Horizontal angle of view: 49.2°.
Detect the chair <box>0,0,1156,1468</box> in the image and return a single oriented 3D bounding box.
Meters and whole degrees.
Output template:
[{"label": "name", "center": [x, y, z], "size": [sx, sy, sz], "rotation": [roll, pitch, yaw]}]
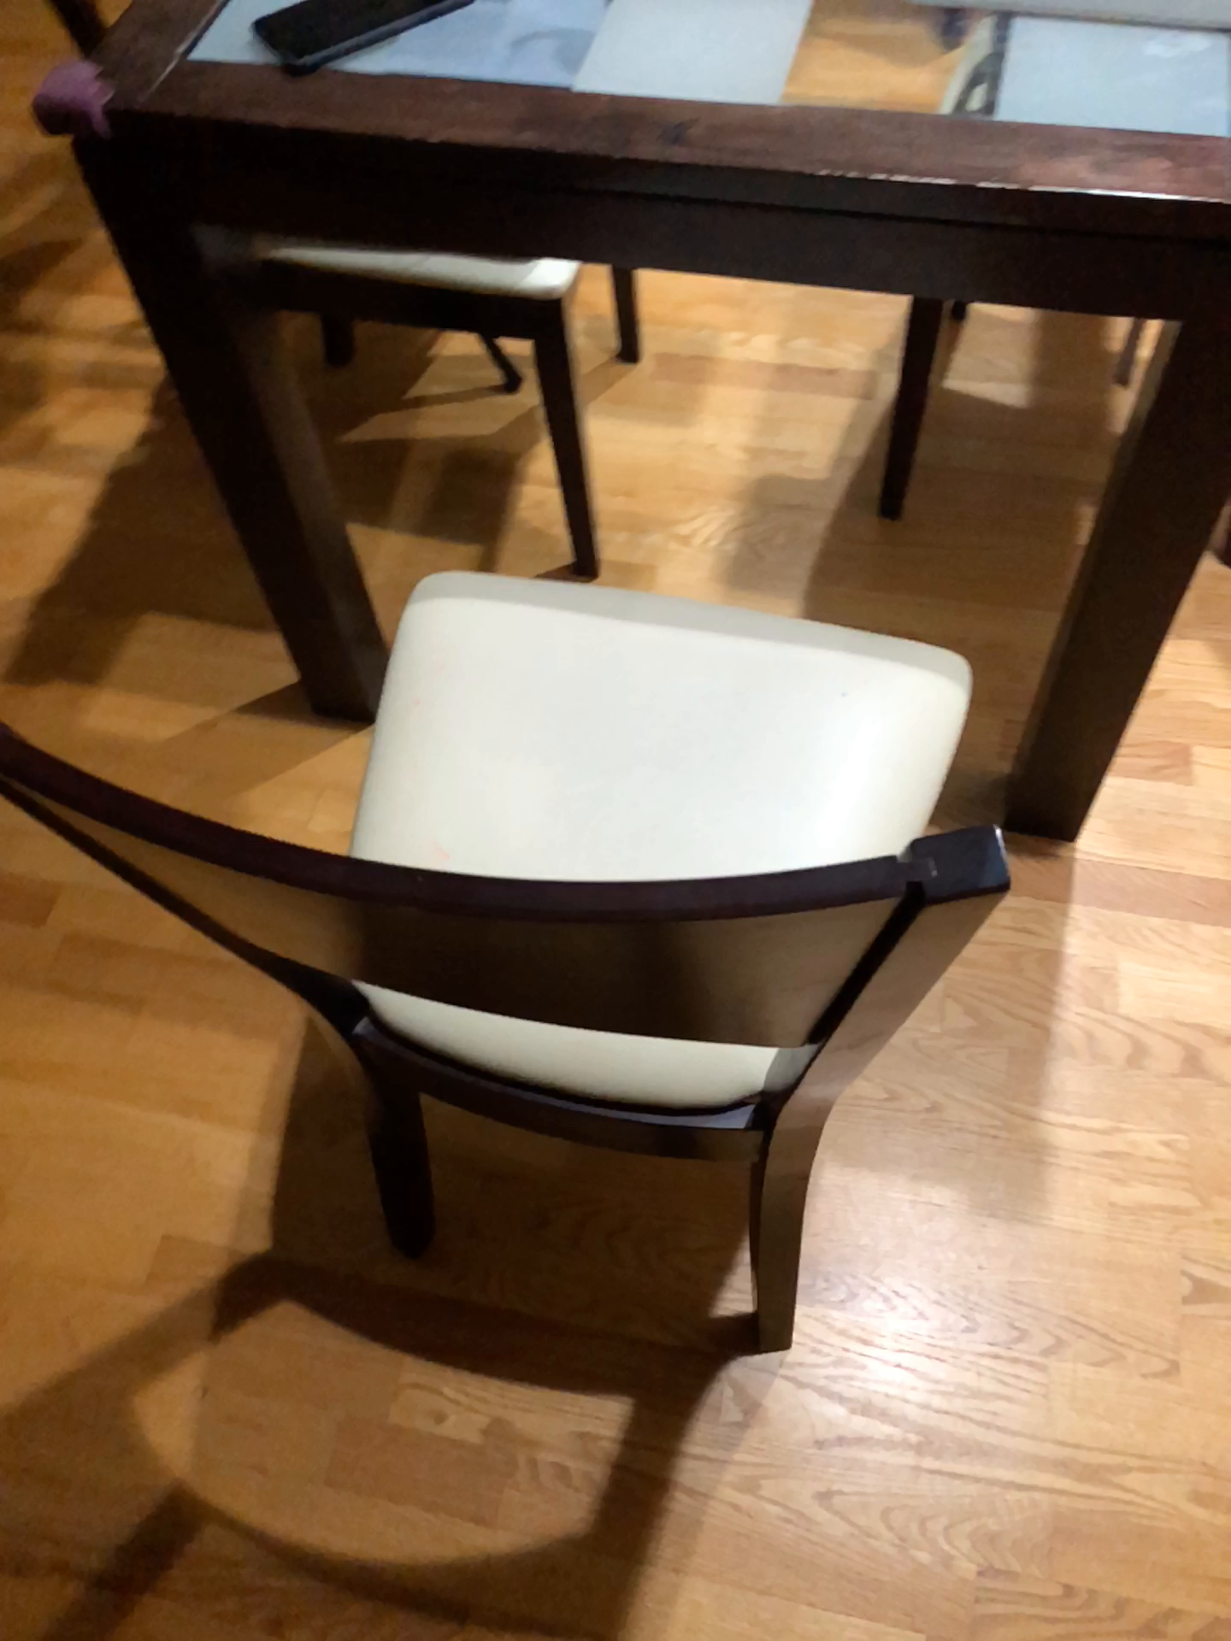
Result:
[{"label": "chair", "center": [0.006, 0.026, 1.033], "size": [0.500, 1.006, 0.642], "rotation": [7, 57, 9]}]
